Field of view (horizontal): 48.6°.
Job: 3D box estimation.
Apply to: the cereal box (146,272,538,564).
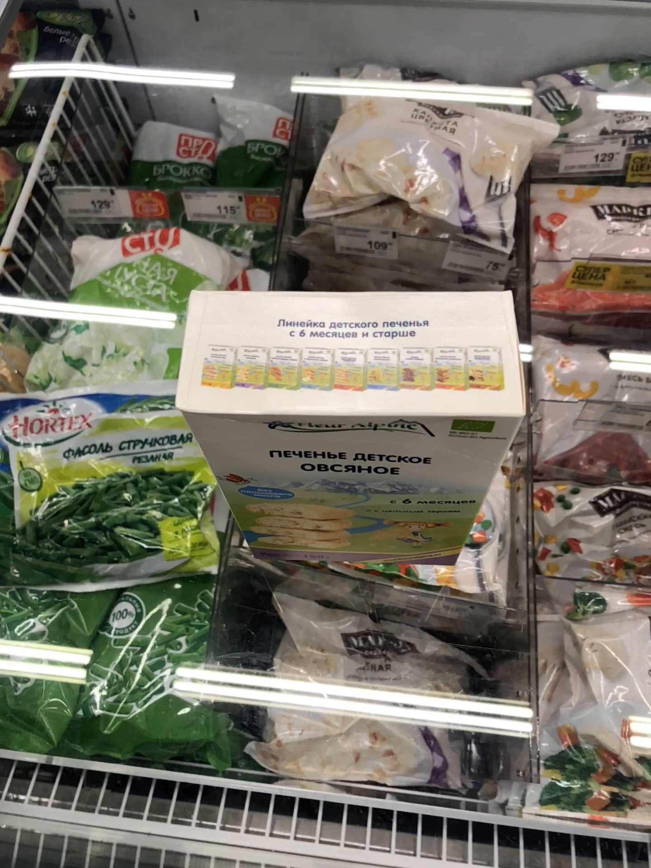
[{"bbox_3d":[0.009,0.008,0.317,0.120,0.190,0.050,0,66,3],"label":"cereal box"}]
